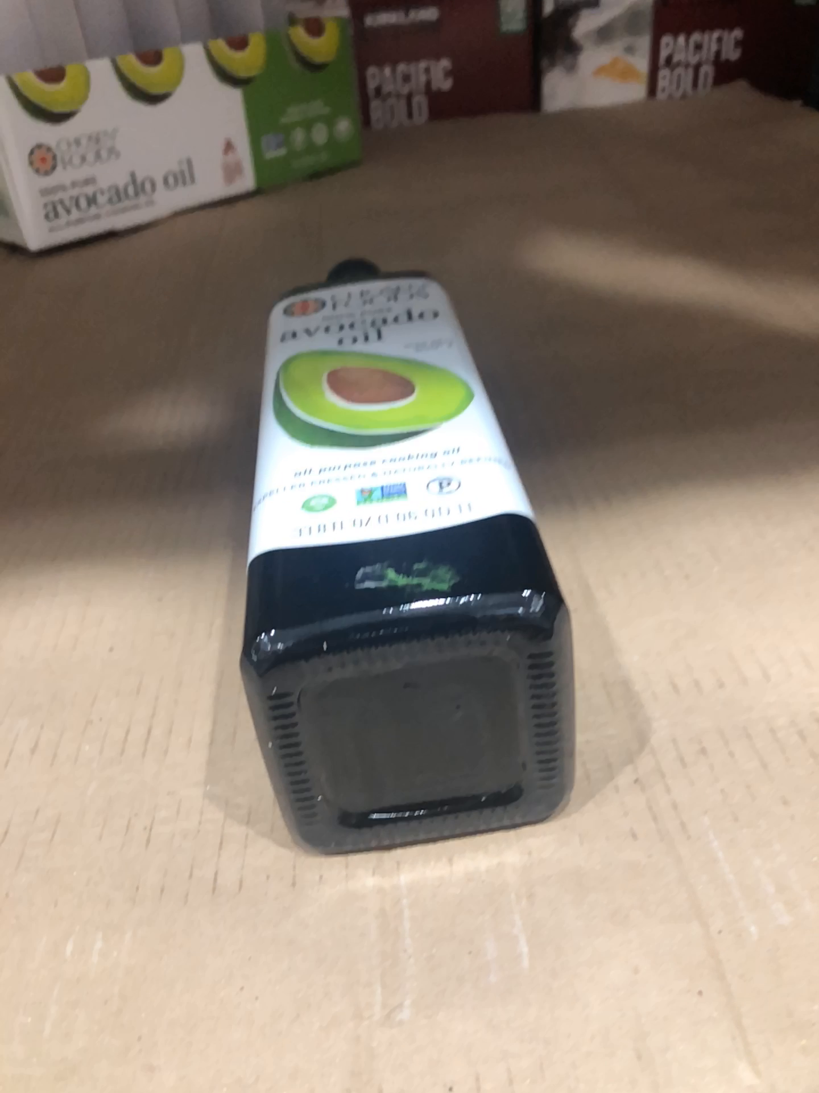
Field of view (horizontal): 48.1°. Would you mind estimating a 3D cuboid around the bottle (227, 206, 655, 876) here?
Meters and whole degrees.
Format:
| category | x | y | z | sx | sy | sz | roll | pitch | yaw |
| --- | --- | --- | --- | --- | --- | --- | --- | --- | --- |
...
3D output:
| category | x | y | z | sx | sy | sz | roll | pitch | yaw |
| --- | --- | --- | --- | --- | --- | --- | --- | --- | --- |
| bottle | -0.005 | -0.044 | 0.337 | 0.086 | 0.074 | 0.322 | -7 | 33 | -2 |
